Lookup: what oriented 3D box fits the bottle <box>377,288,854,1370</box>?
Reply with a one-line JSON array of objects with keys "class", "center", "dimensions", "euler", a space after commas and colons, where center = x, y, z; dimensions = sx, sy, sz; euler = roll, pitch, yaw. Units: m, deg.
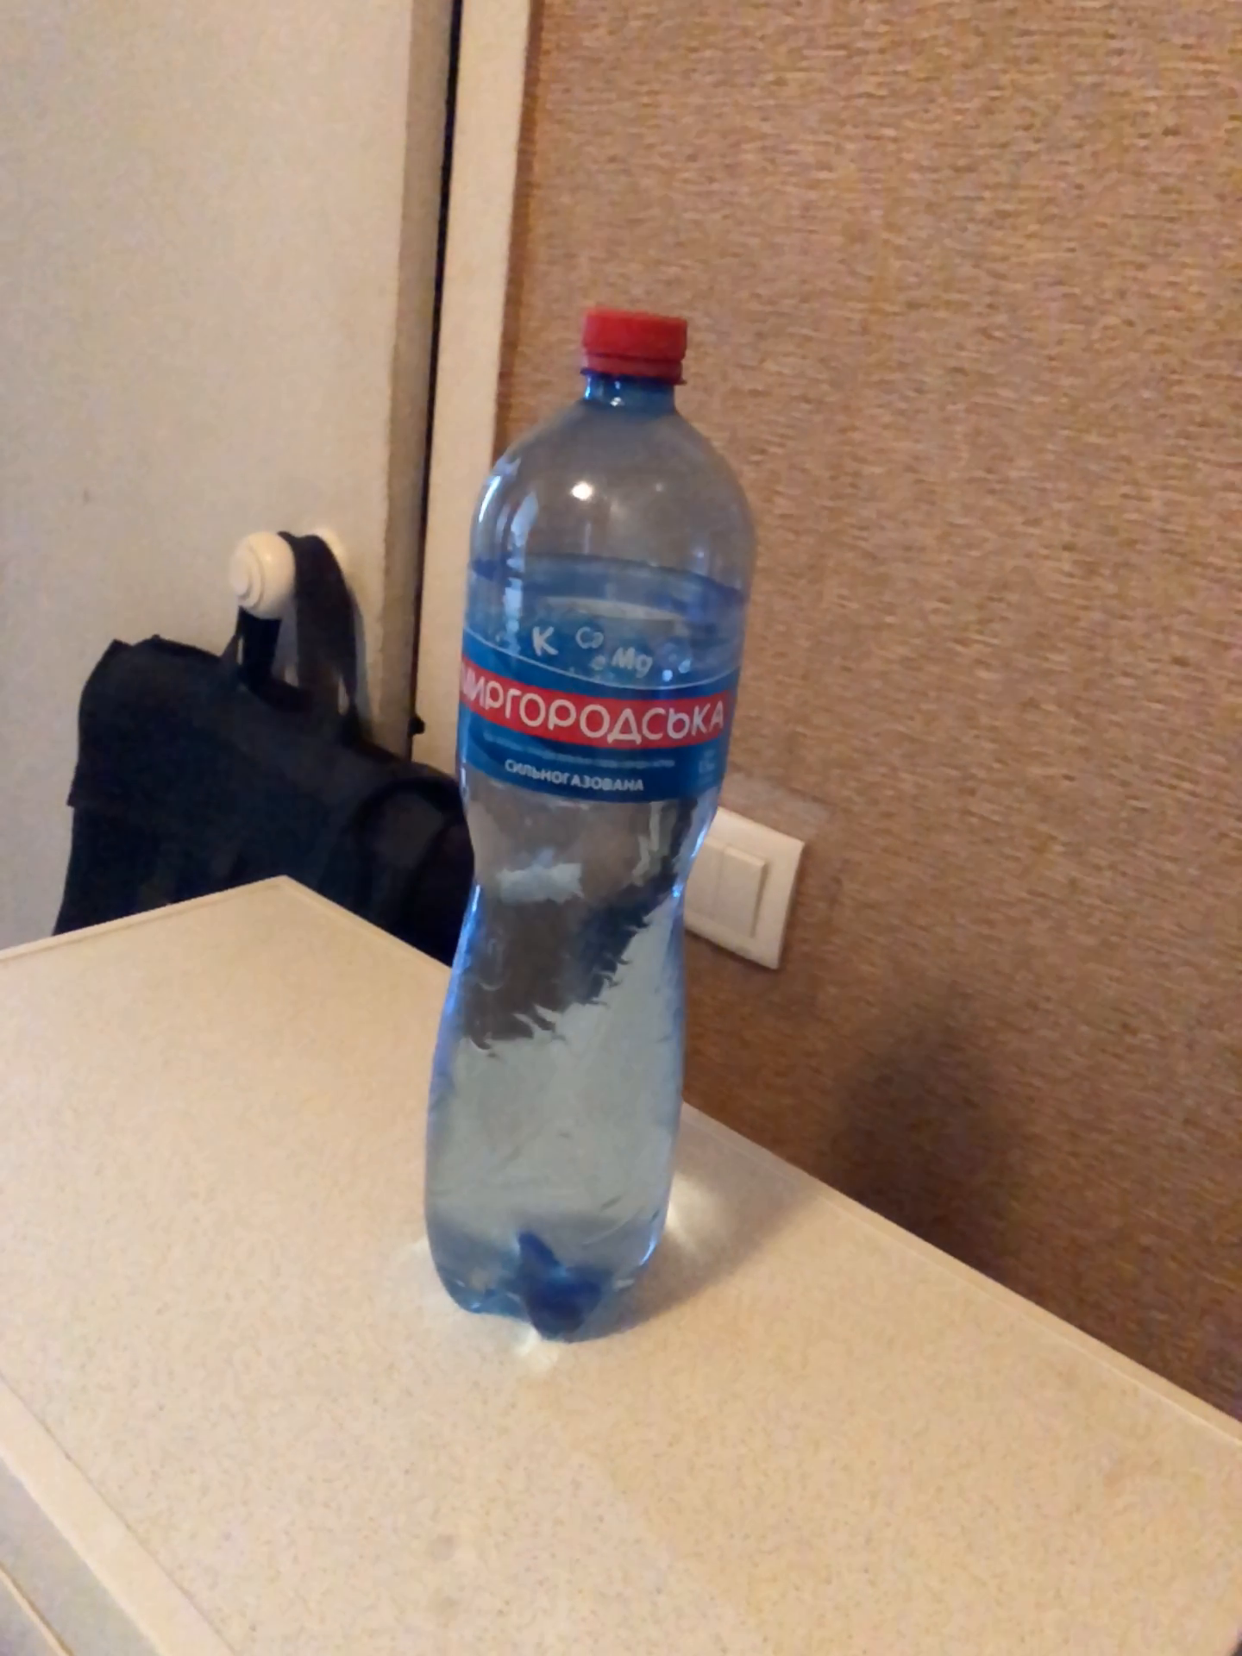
[{"class": "bottle", "center": [-0.004, 0.003, 0.441], "dimensions": [0.100, 0.318, 0.101], "euler": [7, 21, -2]}]
